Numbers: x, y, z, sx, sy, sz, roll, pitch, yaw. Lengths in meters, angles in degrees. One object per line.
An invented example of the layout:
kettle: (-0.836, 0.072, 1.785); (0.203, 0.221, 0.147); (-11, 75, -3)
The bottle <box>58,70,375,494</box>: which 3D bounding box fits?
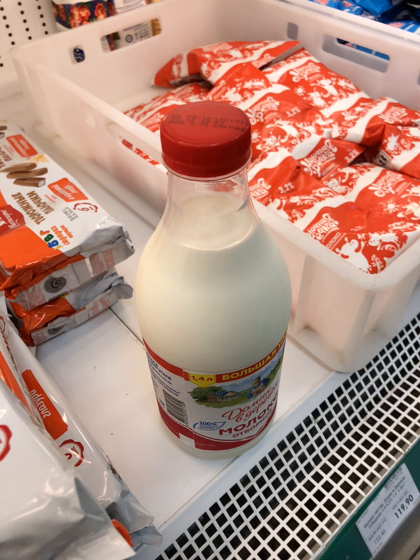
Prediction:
bottle: (0.005, 0.021, 0.298); (0.100, 0.249, 0.100); (-2, 48, 2)
